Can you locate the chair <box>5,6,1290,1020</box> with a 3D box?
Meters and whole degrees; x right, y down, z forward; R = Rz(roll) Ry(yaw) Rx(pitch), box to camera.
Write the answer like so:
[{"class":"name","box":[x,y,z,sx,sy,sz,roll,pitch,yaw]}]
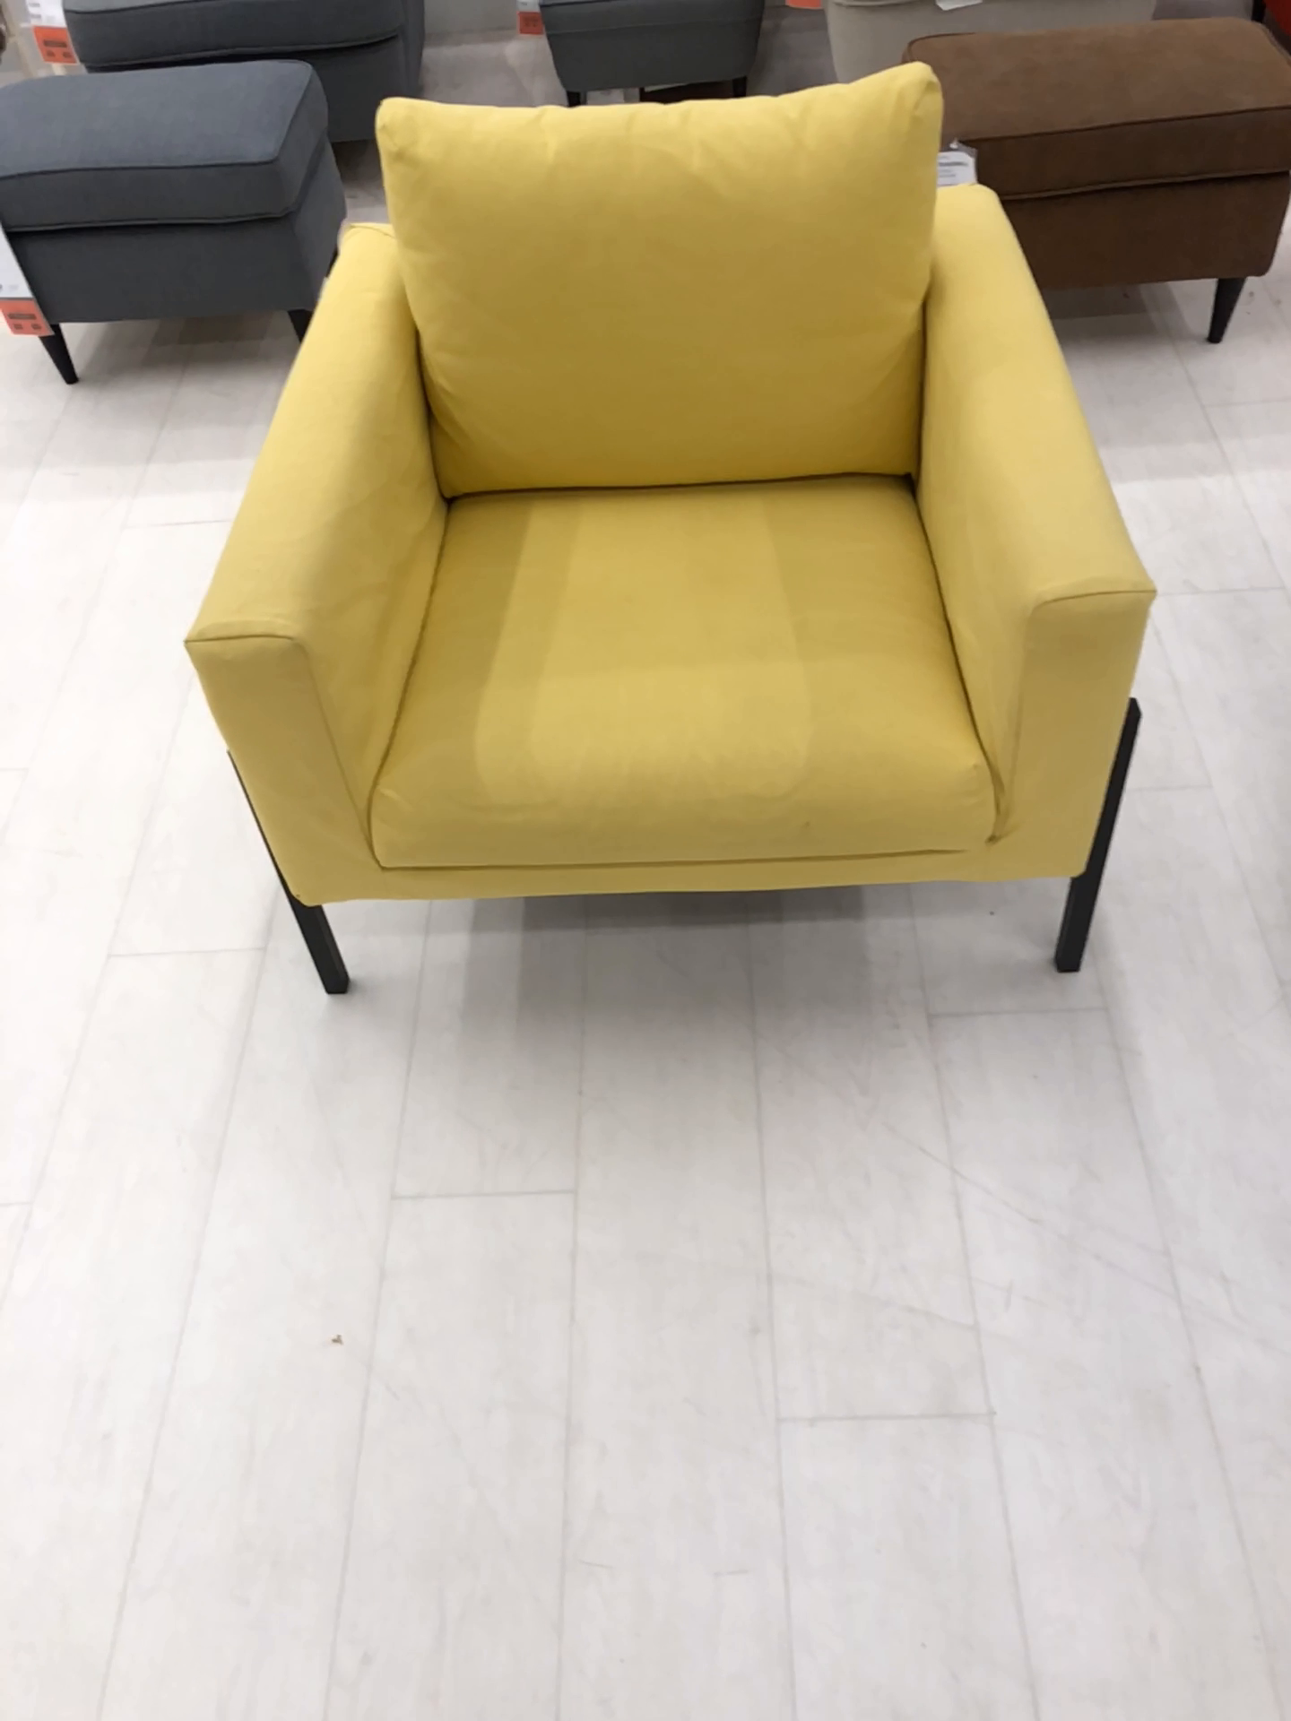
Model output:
[{"class":"chair","box":[0.041,-0.343,1.544,0.980,0.758,0.692,-2,50,4]}]
